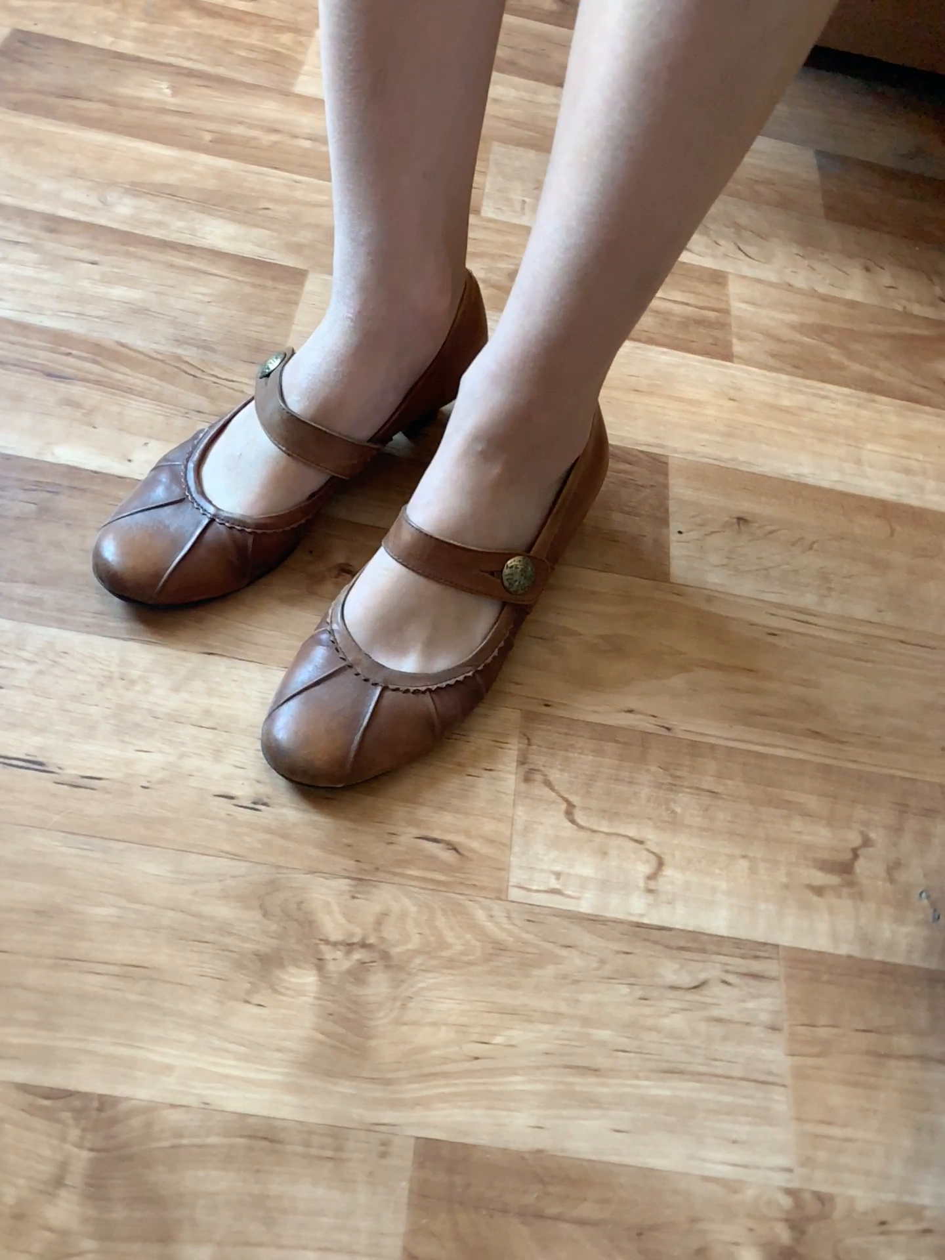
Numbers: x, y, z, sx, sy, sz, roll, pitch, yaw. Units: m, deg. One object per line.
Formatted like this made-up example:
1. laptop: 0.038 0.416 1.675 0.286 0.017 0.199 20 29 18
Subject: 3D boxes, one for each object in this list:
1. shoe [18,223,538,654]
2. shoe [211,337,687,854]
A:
1. shoe: -0.090 -0.109 0.510 0.090 0.090 0.250 43 60 15
2. shoe: -0.004 -0.027 0.476 0.090 0.090 0.251 35 58 11
